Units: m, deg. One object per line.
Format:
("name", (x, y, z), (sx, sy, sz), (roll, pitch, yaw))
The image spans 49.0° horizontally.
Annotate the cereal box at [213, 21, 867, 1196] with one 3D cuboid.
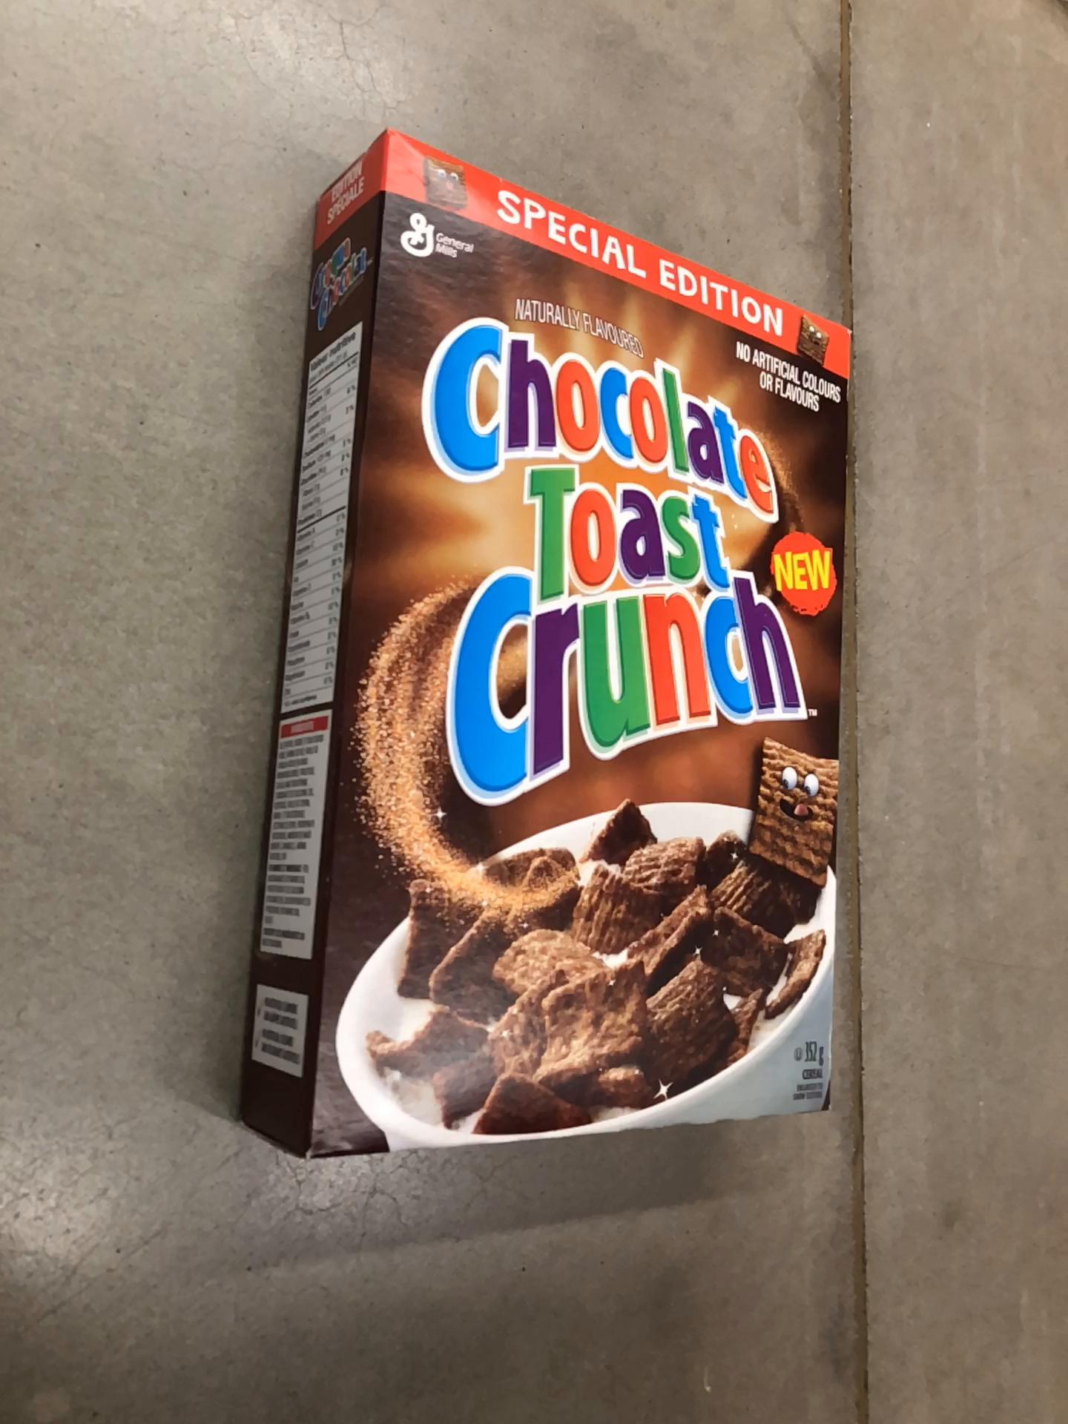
("cereal box", (0.015, -0.023, 0.380), (0.191, 0.070, 0.310), (10, 76, -34))
